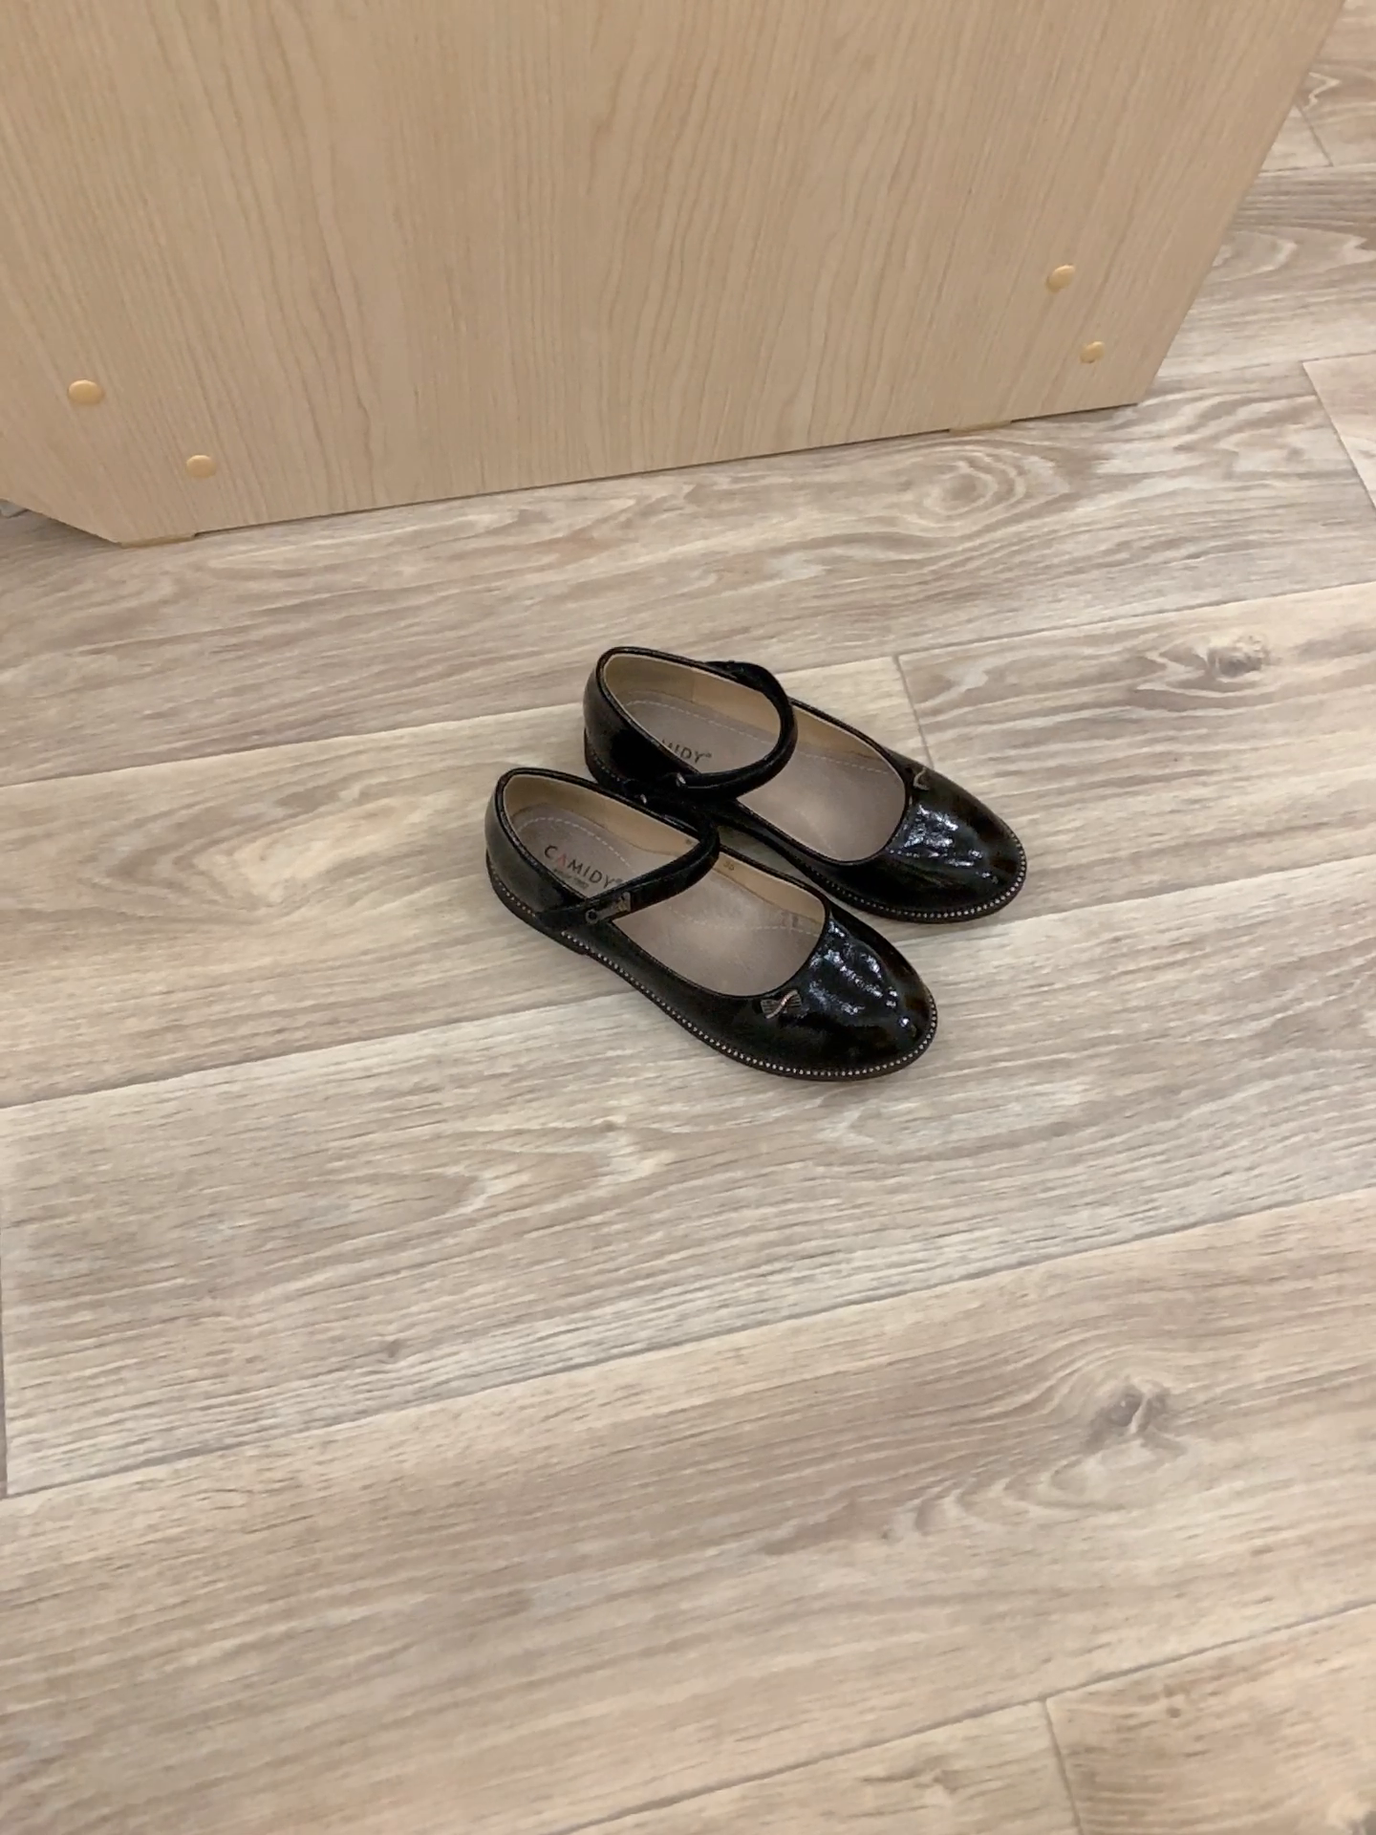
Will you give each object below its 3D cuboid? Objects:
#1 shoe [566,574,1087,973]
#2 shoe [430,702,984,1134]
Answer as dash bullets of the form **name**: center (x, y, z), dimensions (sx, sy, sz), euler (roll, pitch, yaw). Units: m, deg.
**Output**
- **shoe**: center (0.067, -0.075, 0.757), dimensions (0.250, 0.100, 0.090), euler (23, 66, 5)
- **shoe**: center (0.006, 0.002, 0.715), dimensions (0.250, 0.100, 0.090), euler (25, 66, 6)
